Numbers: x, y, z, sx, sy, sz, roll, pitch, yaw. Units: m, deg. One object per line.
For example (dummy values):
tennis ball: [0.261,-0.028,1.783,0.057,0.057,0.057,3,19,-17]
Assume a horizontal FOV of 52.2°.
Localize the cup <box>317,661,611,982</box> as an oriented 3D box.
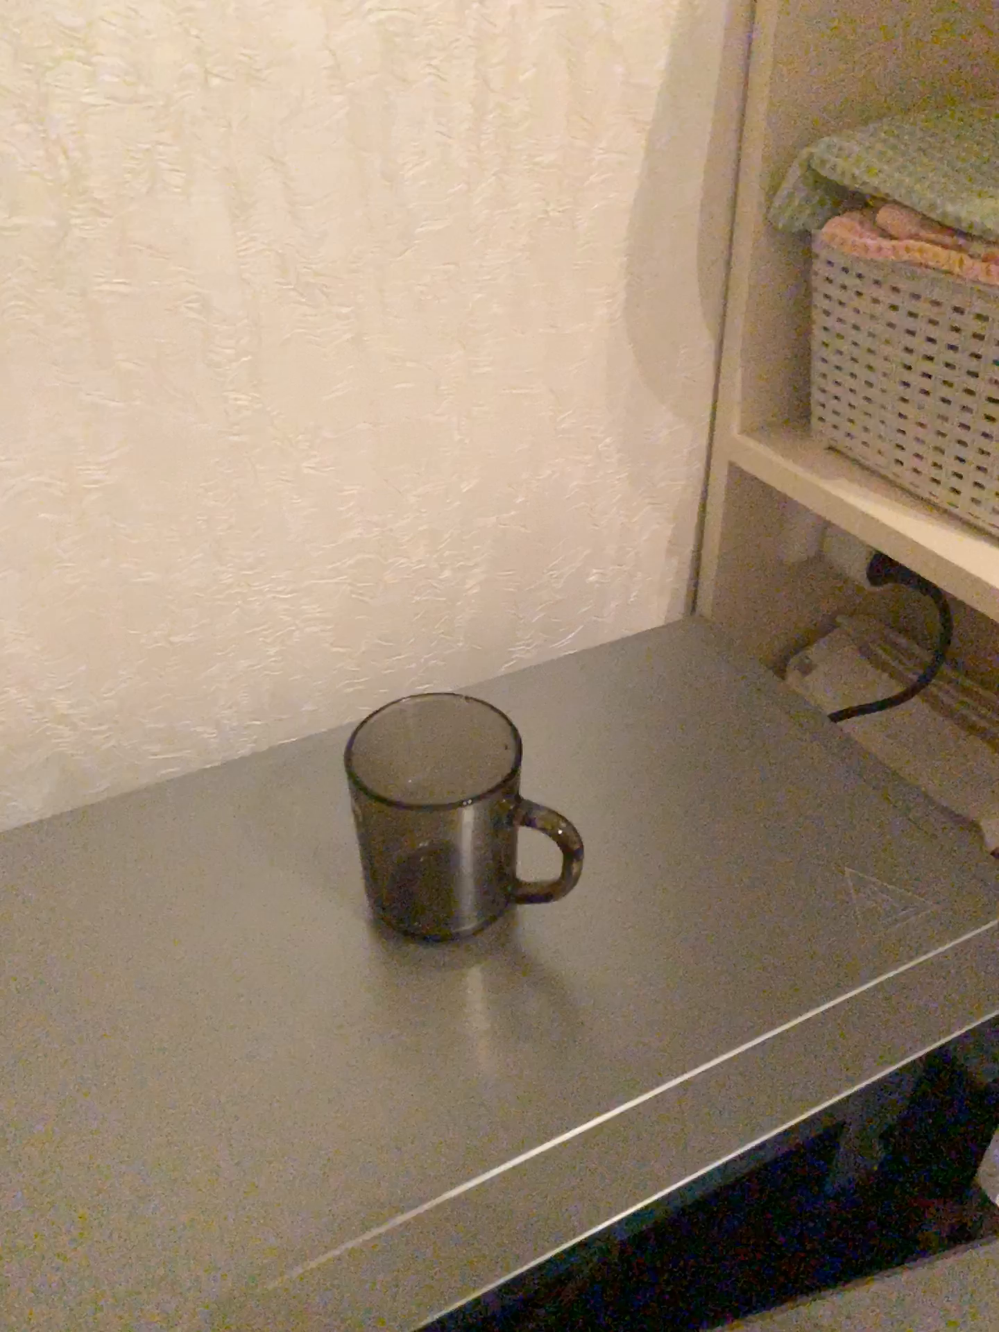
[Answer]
cup: [-0.010,0.065,0.440,0.101,0.094,0.078,8,36,13]
